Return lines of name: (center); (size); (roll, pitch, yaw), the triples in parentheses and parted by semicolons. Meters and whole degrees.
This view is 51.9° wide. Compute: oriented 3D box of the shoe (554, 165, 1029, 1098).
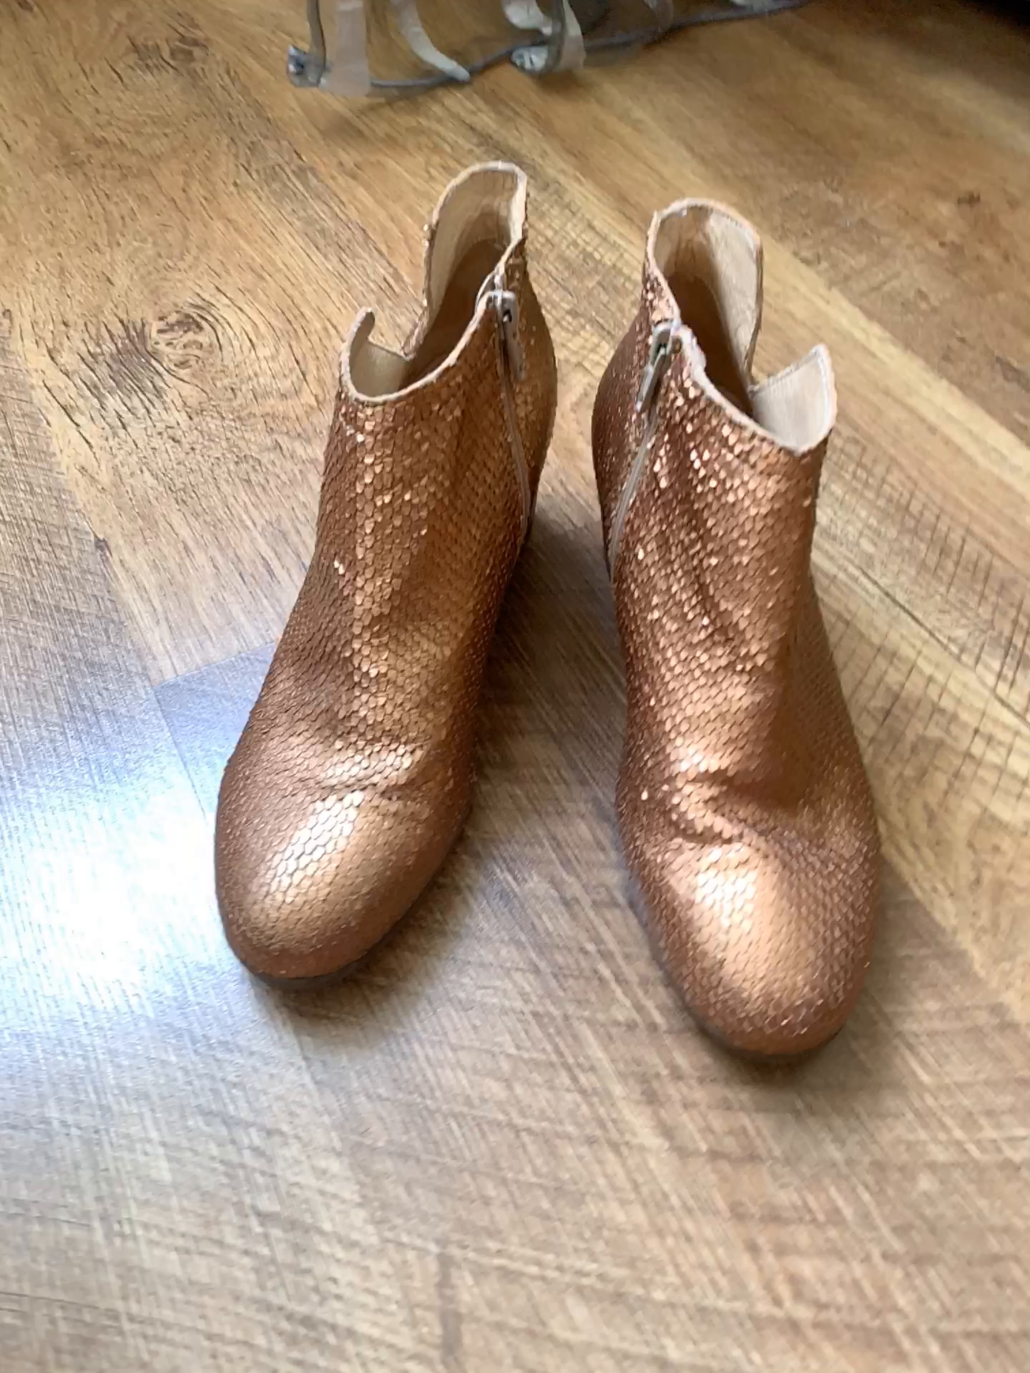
shoe: (0.067, -0.023, 0.291); (0.080, 0.130, 0.221); (-4, 53, -4)

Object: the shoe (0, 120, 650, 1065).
shoe: (-0.033, -0.035, 0.293); (0.080, 0.130, 0.221); (14, 54, 9)
